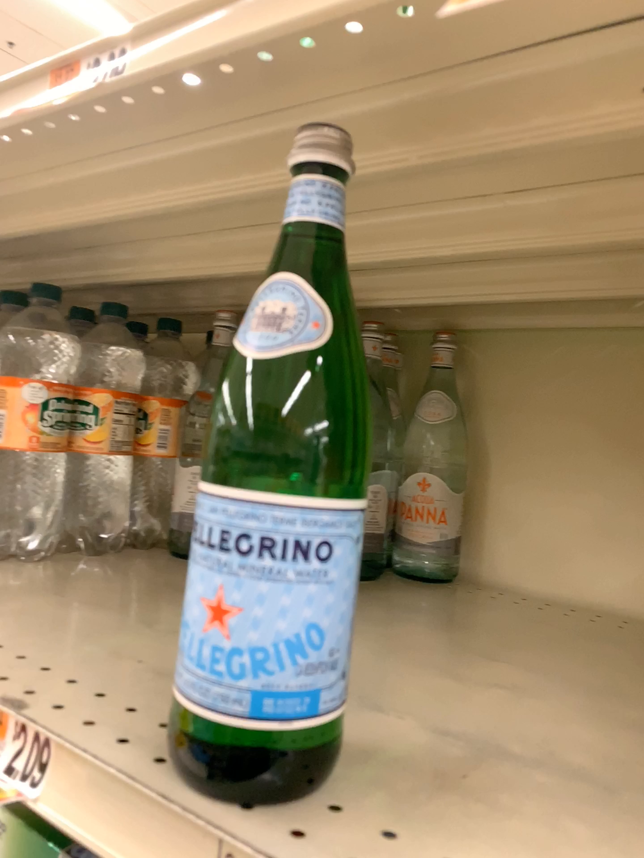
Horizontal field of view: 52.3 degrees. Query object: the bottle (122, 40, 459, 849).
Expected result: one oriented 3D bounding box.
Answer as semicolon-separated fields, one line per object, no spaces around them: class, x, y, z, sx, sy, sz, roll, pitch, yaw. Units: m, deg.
bottle;-0.012;0.003;0.297;0.090;0.290;0.090;5;-1;0
